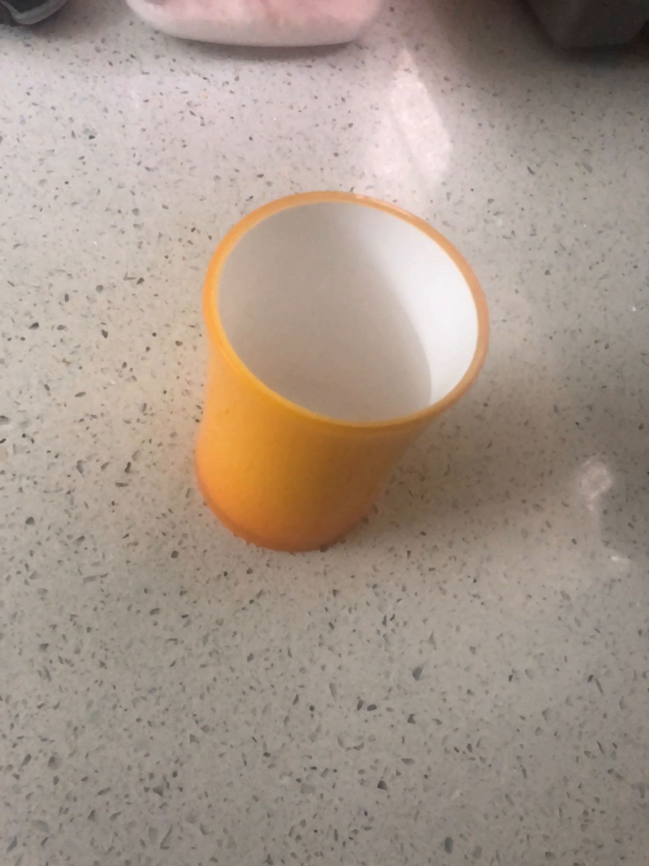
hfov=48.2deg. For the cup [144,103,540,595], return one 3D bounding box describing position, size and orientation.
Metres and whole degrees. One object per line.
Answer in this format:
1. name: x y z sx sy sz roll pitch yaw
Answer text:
1. cup: -0.001 -0.013 0.214 0.080 0.110 0.080 5 63 -10
